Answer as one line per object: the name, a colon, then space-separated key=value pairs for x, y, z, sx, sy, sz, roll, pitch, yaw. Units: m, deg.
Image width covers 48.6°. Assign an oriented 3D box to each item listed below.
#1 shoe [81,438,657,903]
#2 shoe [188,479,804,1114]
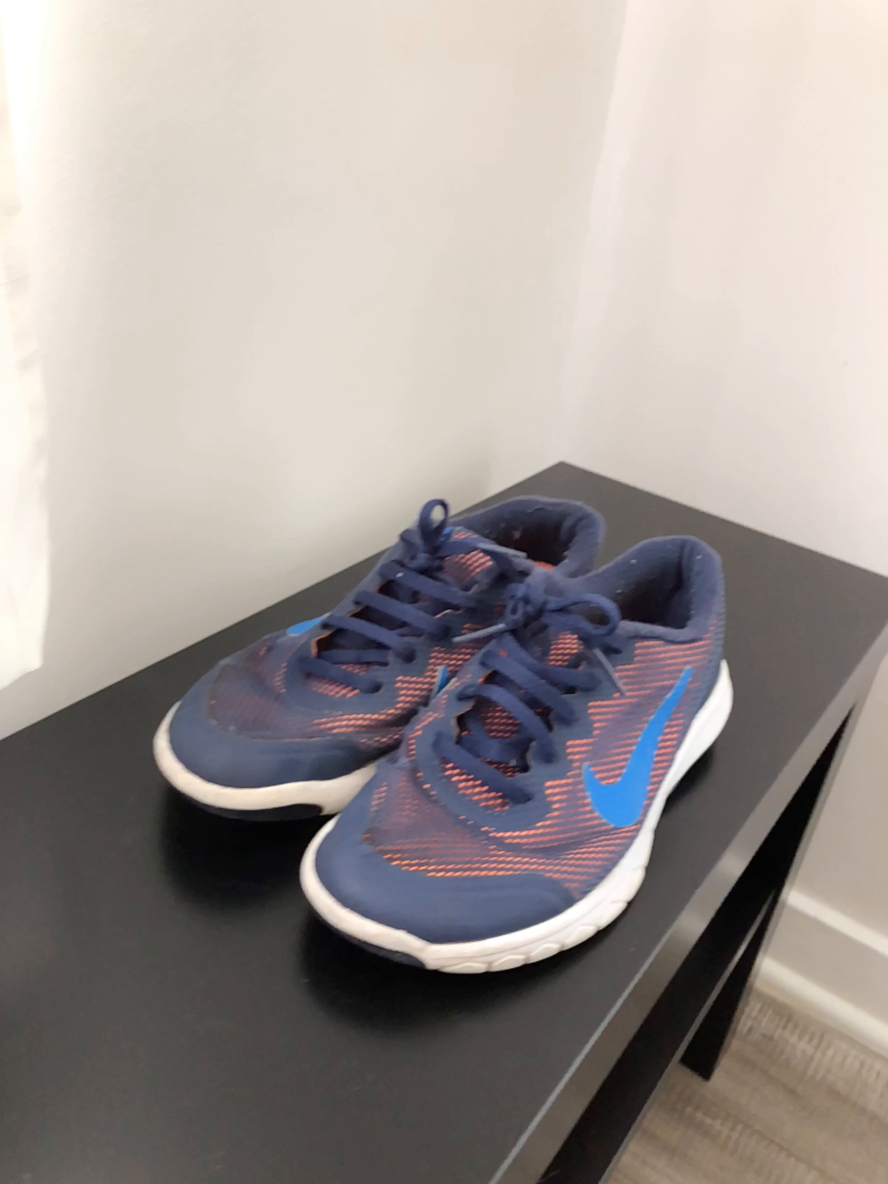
shoe: x=-0.018 y=0.013 z=0.450 sx=0.100 sy=0.089 sz=0.260 roll=26 pitch=34 yaw=31
shoe: x=0.038 y=0.048 z=0.394 sx=0.120 sy=0.089 sz=0.261 roll=23 pitch=32 yaw=26
